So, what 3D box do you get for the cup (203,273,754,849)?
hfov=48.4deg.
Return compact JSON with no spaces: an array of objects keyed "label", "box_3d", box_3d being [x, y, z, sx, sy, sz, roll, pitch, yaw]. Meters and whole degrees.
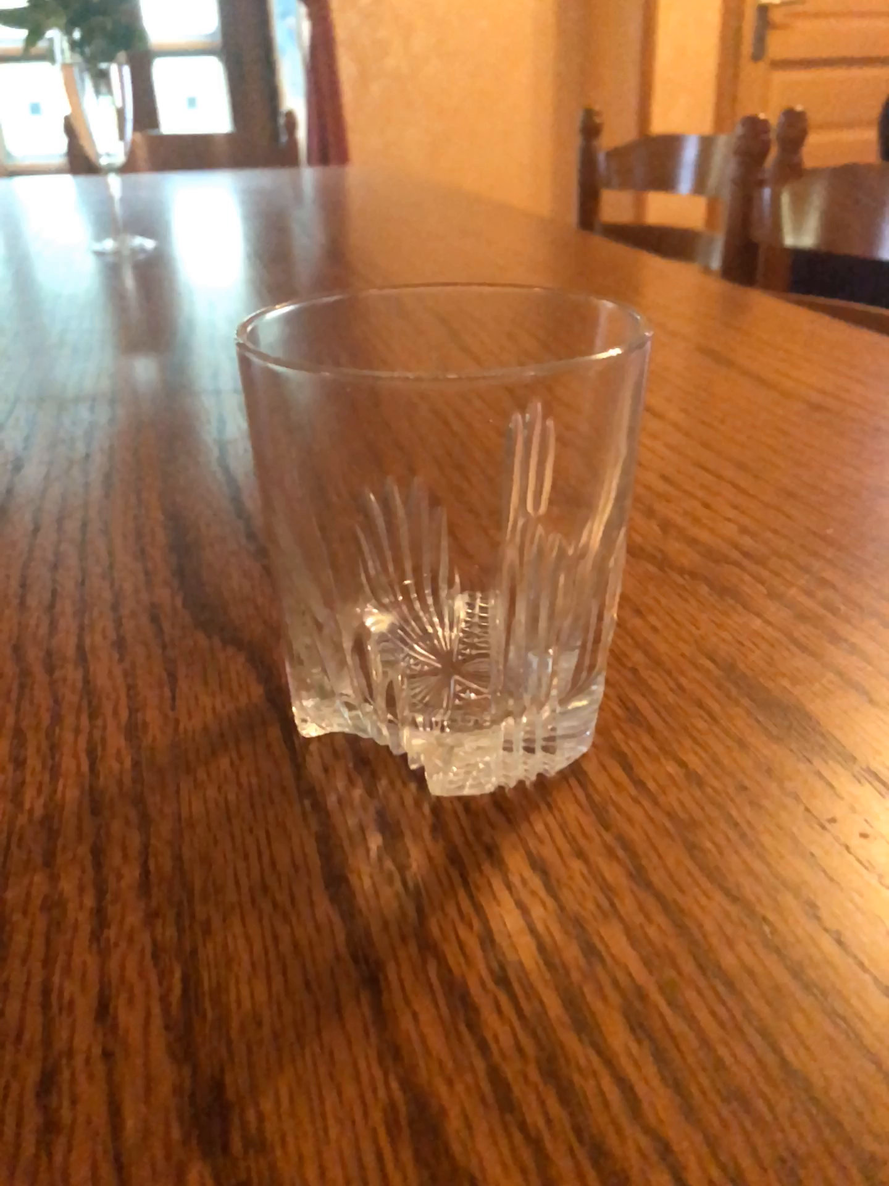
[{"label":"cup","box_3d":[0.002,-0.016,0.213,0.080,0.084,0.085,-2,27,1]}]
